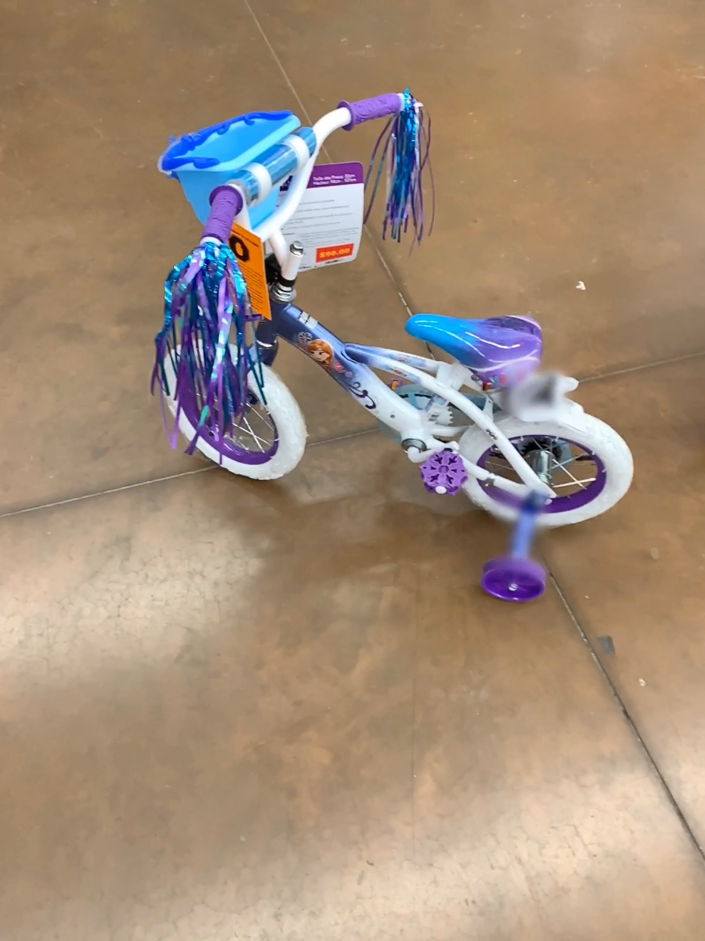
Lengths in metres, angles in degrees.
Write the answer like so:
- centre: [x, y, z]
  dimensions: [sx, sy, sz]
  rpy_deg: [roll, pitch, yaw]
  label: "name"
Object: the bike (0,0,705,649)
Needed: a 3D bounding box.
- centre: [0.069, -0.170, 1.038]
  dimensions: [0.804, 0.633, 0.441]
  rpy_deg: [14, 54, 4]
  label: "bike"
